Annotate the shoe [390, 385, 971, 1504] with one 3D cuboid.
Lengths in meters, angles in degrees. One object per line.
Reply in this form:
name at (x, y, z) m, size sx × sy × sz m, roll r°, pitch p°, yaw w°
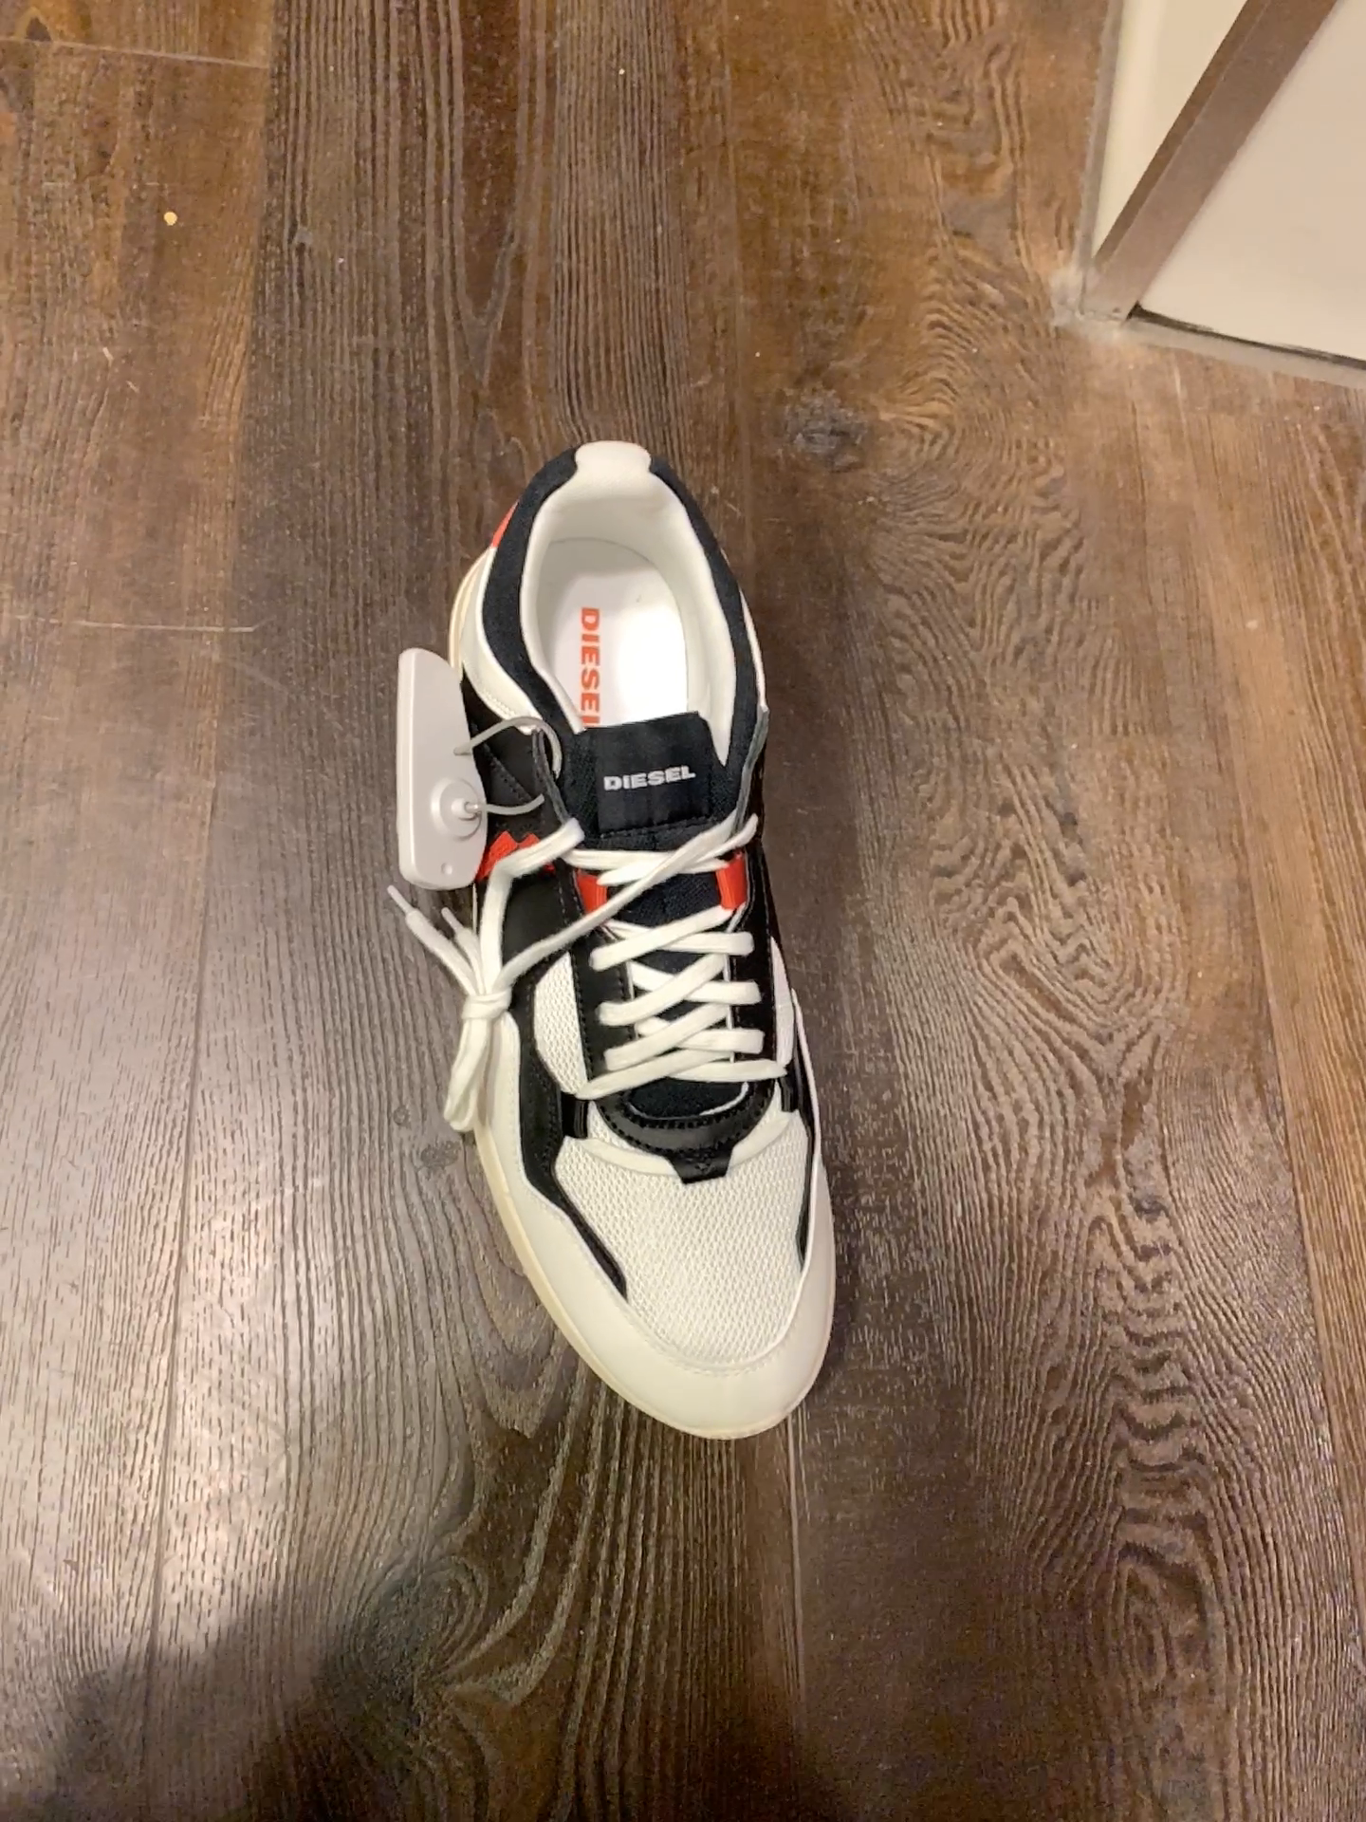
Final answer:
shoe at (-0.015, 0.004, 0.429) m, size 0.110 × 0.110 × 0.301 m, roll -7°, pitch 74°, yaw -12°
